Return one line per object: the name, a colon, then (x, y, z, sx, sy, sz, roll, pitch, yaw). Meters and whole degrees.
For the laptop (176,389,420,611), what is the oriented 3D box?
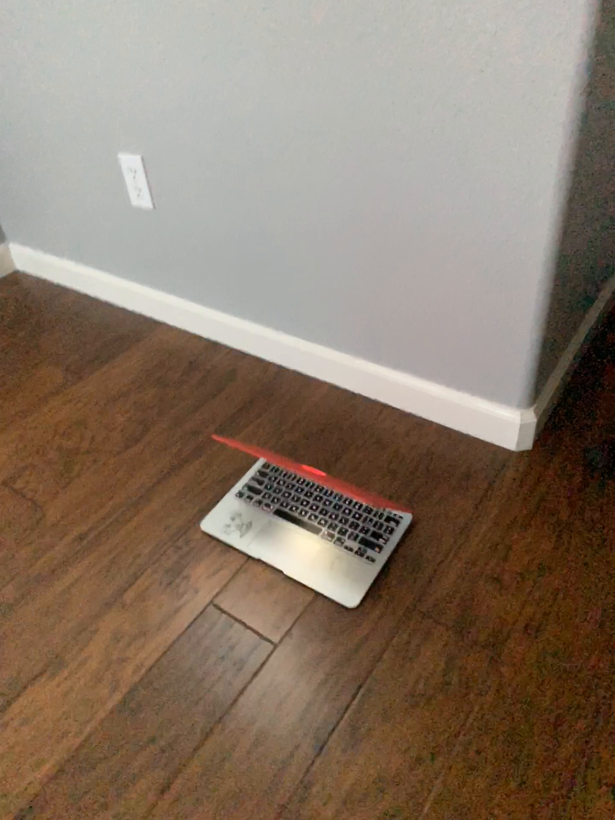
laptop: (-0.010, 0.123, 0.961, 0.302, 0.139, 0.198, 20, 47, 28)
